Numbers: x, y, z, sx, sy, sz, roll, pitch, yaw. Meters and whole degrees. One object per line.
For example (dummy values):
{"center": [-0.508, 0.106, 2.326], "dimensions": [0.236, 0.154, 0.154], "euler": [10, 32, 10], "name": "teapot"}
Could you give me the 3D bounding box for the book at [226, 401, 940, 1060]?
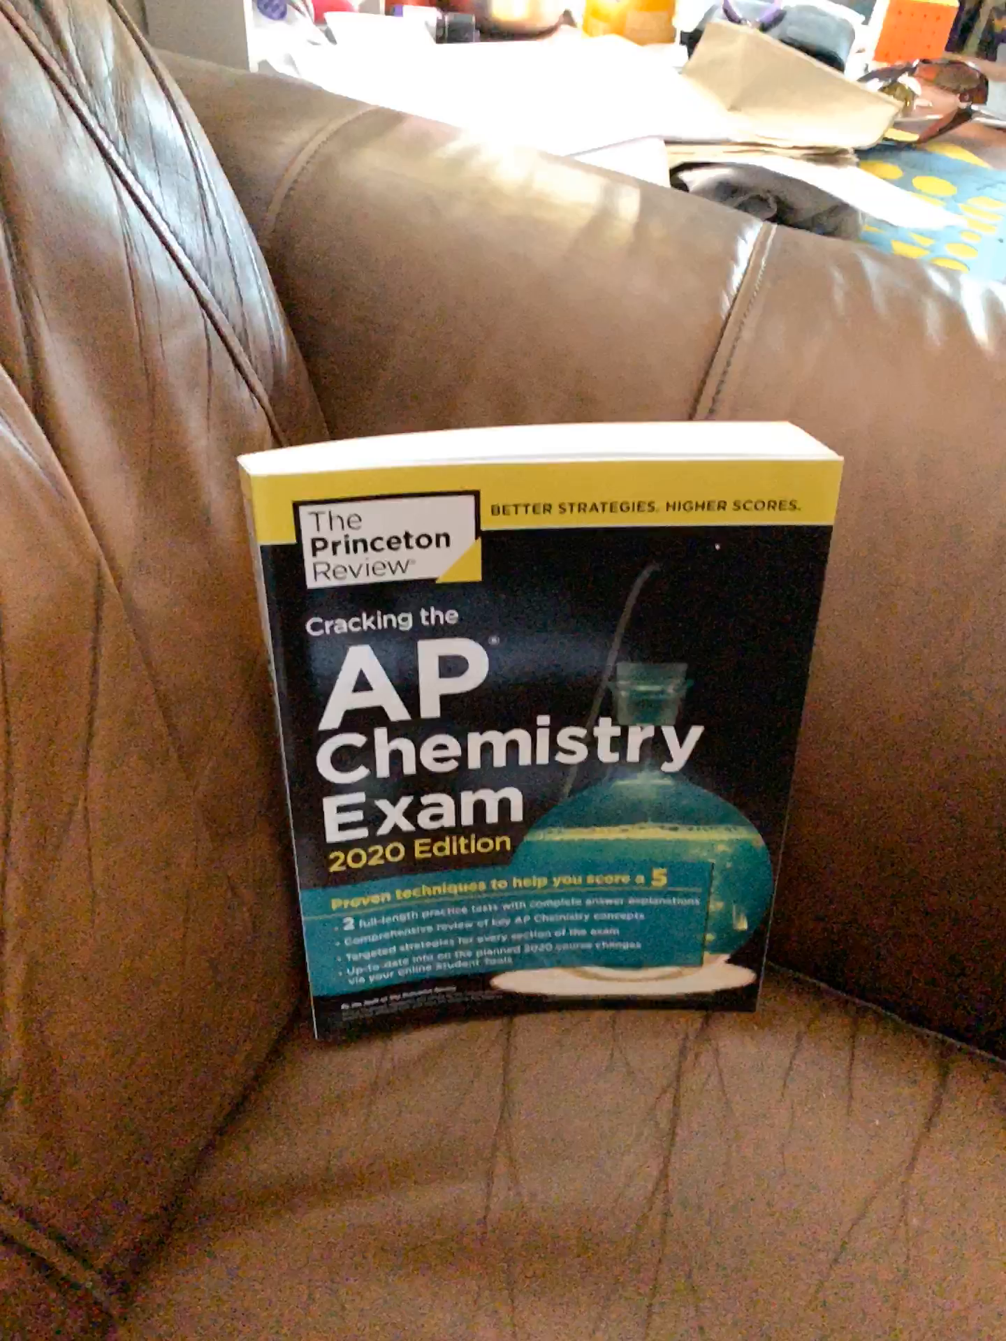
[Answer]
{"center": [0.022, 0.045, 0.447], "dimensions": [0.240, 0.319, 0.040], "euler": [-2, 35, -7], "name": "book"}
